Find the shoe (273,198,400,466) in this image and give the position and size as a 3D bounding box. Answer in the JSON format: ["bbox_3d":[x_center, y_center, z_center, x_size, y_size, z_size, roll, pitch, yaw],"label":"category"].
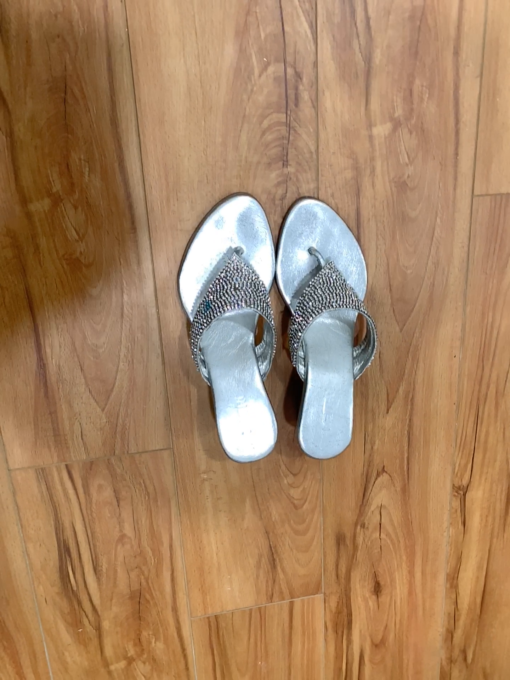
[{"bbox_3d":[0.066,-0.010,0.471,0.085,0.073,0.228,-3,107,-10],"label":"shoe"}]

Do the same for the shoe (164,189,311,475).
[{"bbox_3d":[-0.014,-0.009,0.458,0.095,0.073,0.228,-9,108,-8],"label":"shoe"}]
